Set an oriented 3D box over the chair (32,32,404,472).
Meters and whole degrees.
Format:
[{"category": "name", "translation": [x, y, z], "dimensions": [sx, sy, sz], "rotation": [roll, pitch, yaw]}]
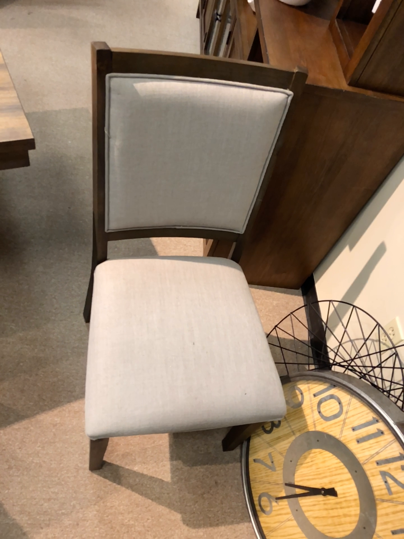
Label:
[{"category": "chair", "translation": [-0.083, 0.081, 0.997], "dimensions": [0.460, 0.925, 0.492], "rotation": [-1, 57, -15]}]
